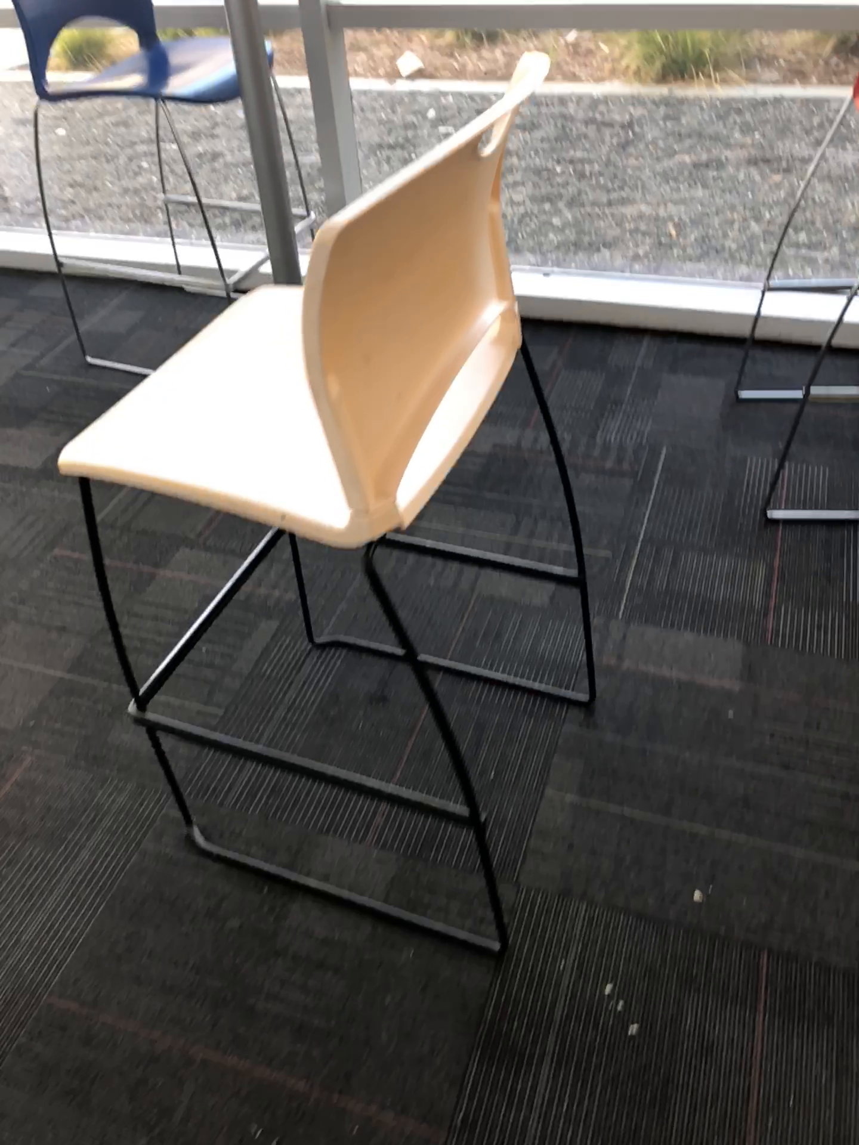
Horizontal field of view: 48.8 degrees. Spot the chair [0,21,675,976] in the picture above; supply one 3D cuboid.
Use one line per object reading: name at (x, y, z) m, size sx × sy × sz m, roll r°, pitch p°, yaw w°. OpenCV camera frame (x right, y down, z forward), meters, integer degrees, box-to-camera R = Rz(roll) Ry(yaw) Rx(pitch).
chair at (-0.144, -0.093, 1.247) m, size 0.721 × 0.995 × 0.582 m, roll 12°, pitch 44°, yaw 19°
